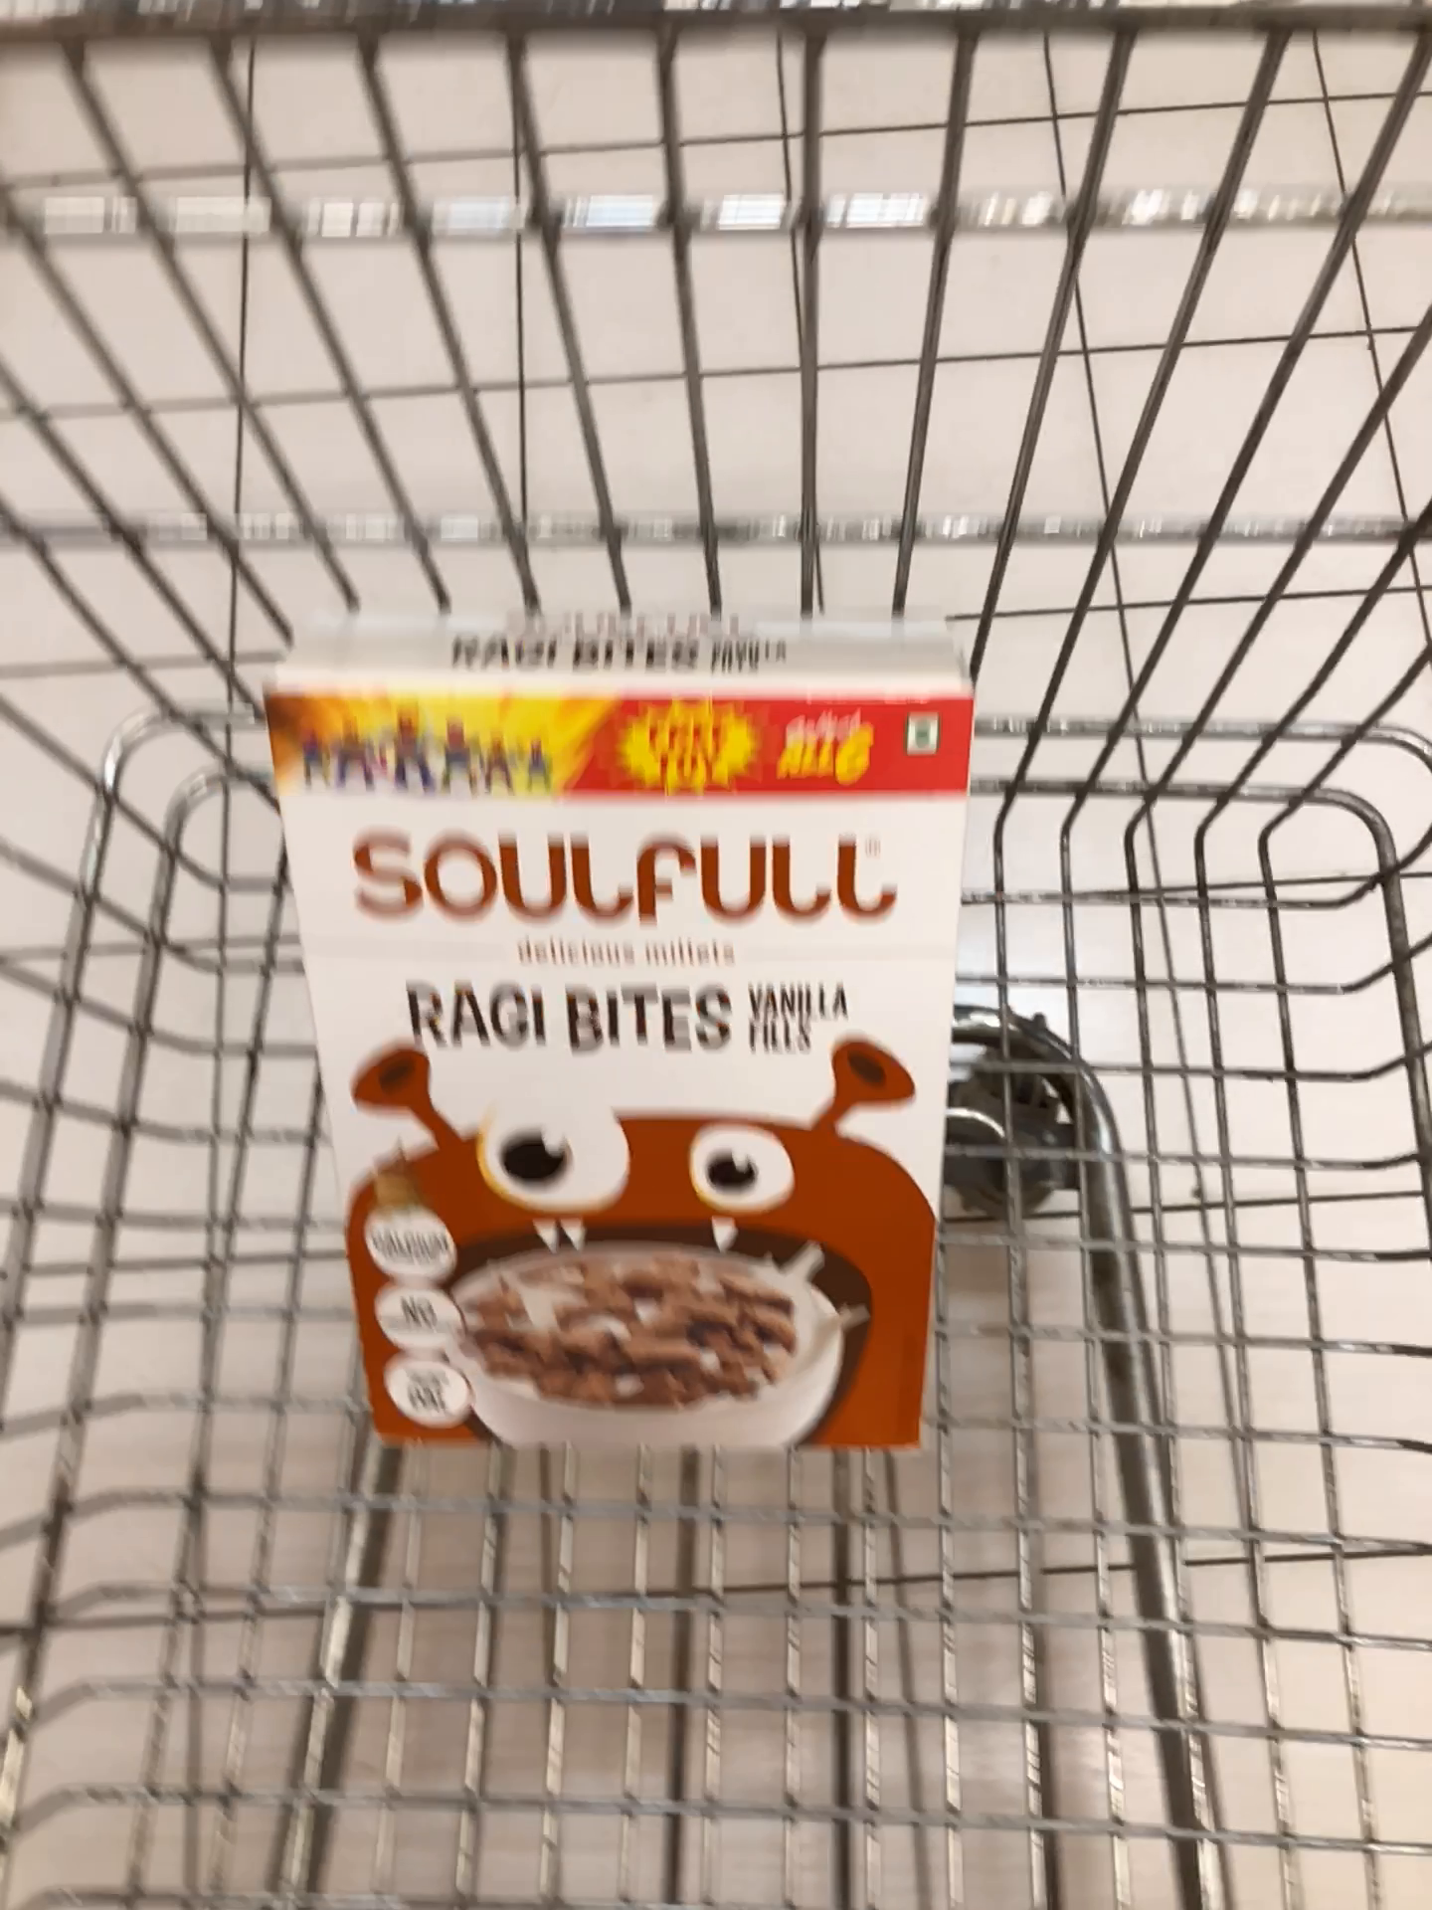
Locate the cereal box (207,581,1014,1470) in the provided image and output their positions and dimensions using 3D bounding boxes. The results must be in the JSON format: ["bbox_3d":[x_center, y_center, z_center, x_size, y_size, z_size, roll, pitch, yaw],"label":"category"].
[{"bbox_3d":[-0.024,0.029,0.447,0.180,0.249,0.070,1,30,0],"label":"cereal box"}]
